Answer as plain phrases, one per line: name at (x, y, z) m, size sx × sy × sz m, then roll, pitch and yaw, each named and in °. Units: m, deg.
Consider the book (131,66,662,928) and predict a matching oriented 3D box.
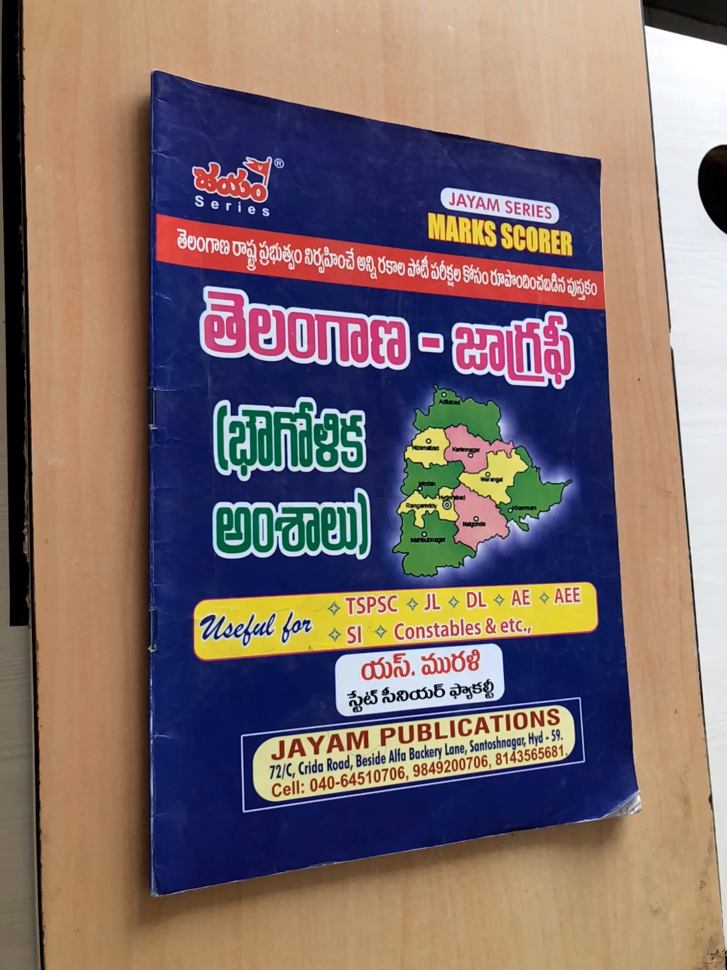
book at (0.015, -0.001, 0.318) m, size 0.200 × 0.040 × 0.280 m, roll 1°, pitch 83°, yaw -22°
